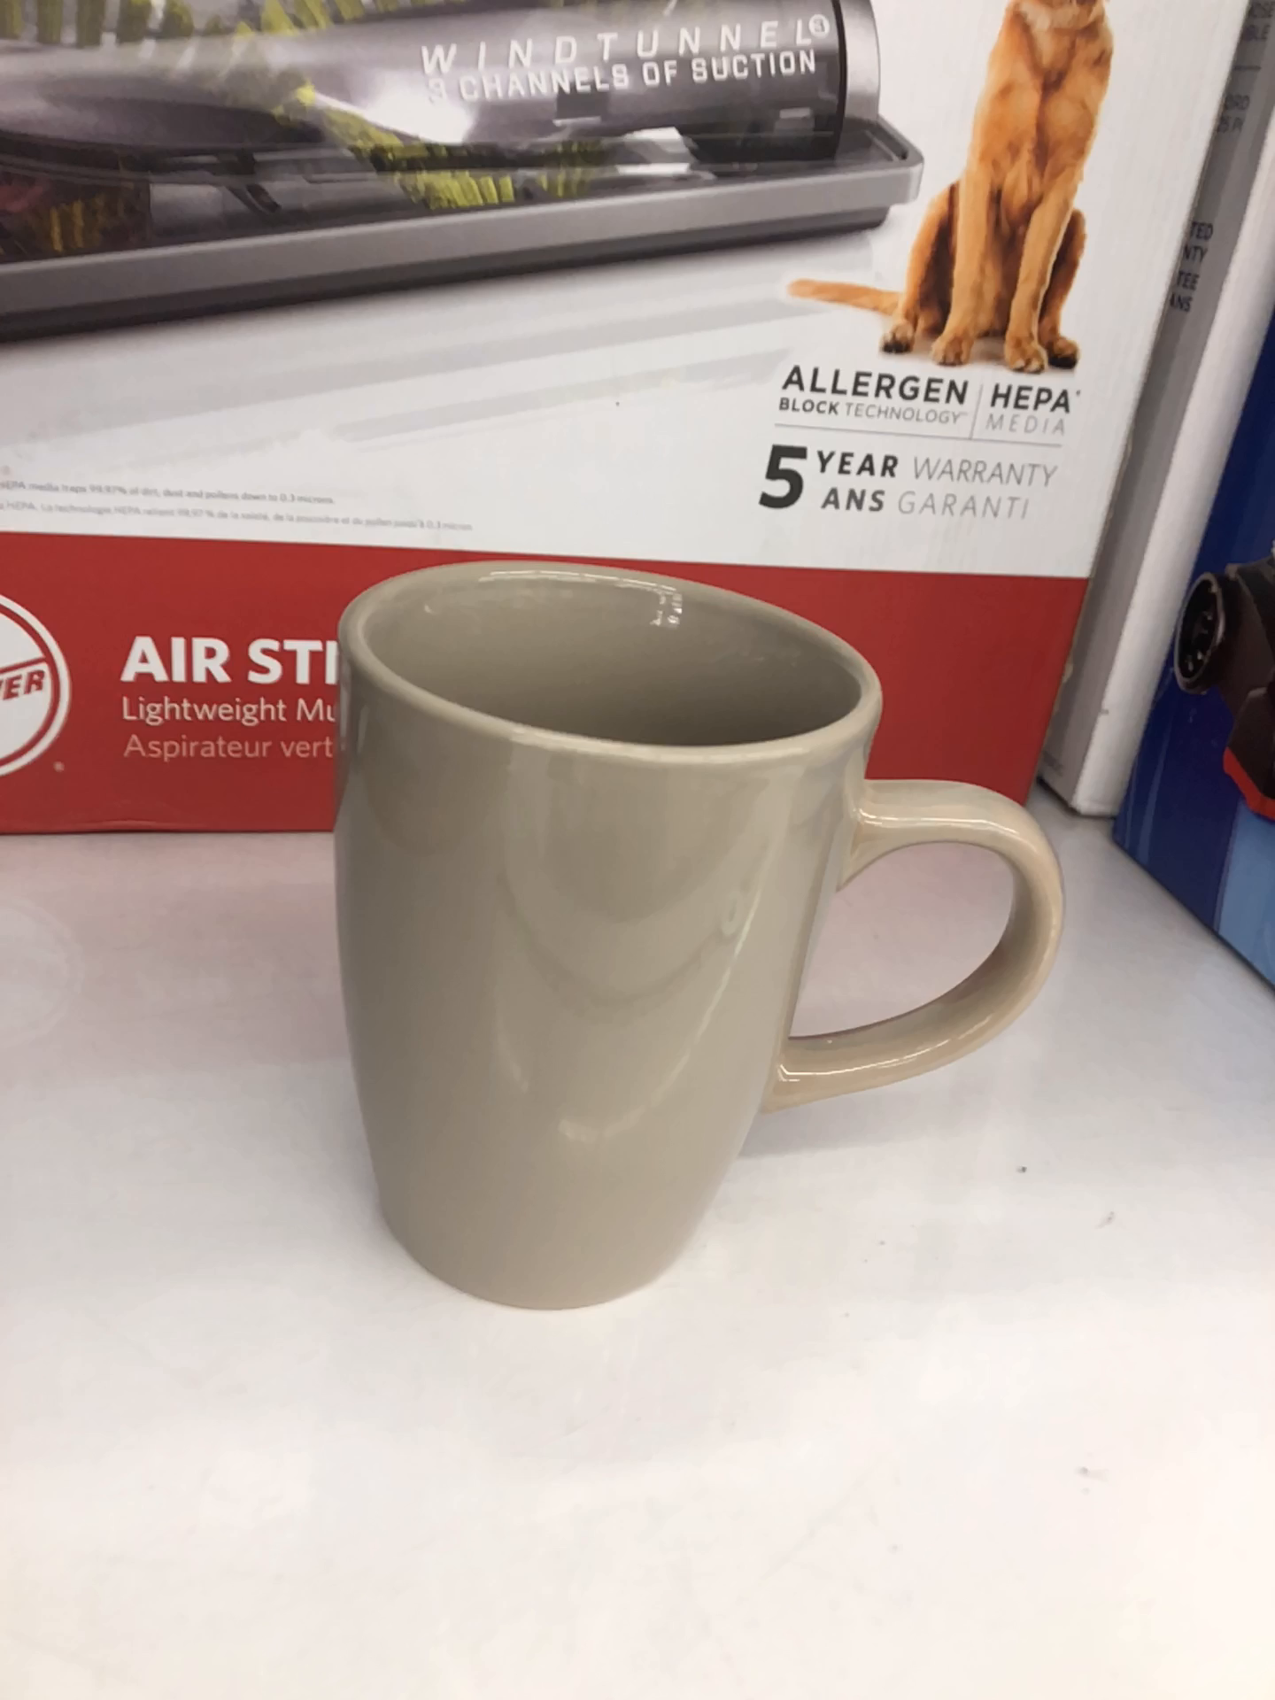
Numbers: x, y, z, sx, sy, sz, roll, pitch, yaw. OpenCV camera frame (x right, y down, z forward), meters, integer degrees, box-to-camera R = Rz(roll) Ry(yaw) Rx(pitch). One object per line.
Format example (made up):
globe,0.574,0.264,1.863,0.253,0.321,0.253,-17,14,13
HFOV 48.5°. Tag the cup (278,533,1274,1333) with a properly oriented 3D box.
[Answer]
cup,0.011,0.012,0.235,0.125,0.092,0.088,4,27,-9
